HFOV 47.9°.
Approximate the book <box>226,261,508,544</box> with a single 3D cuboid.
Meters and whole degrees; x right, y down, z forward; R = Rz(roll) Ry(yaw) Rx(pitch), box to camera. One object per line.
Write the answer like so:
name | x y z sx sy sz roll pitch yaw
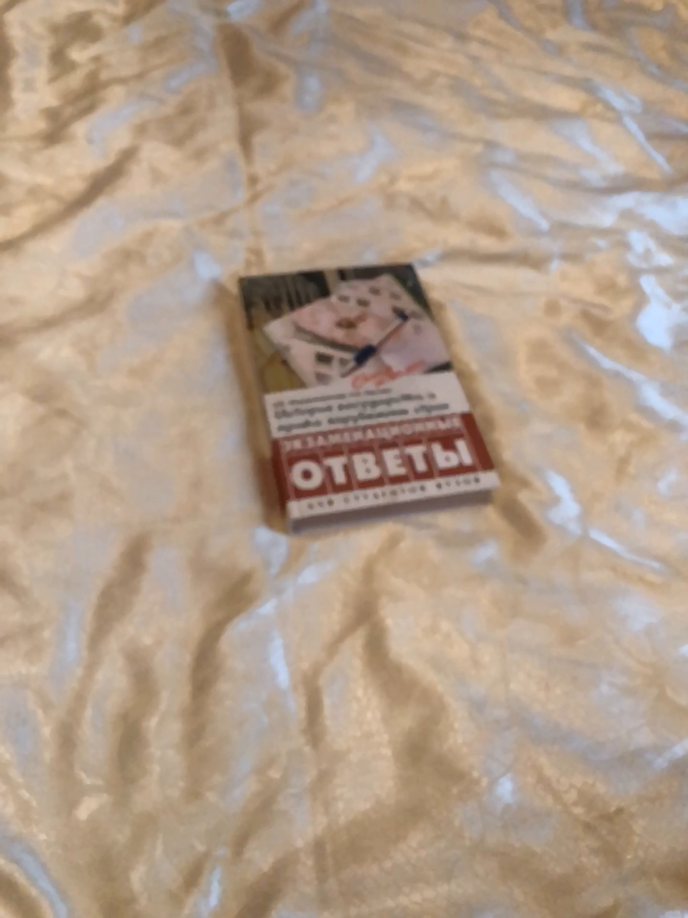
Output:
book | 0.006 -0.050 0.535 0.150 0.030 0.211 -7 55 -10
